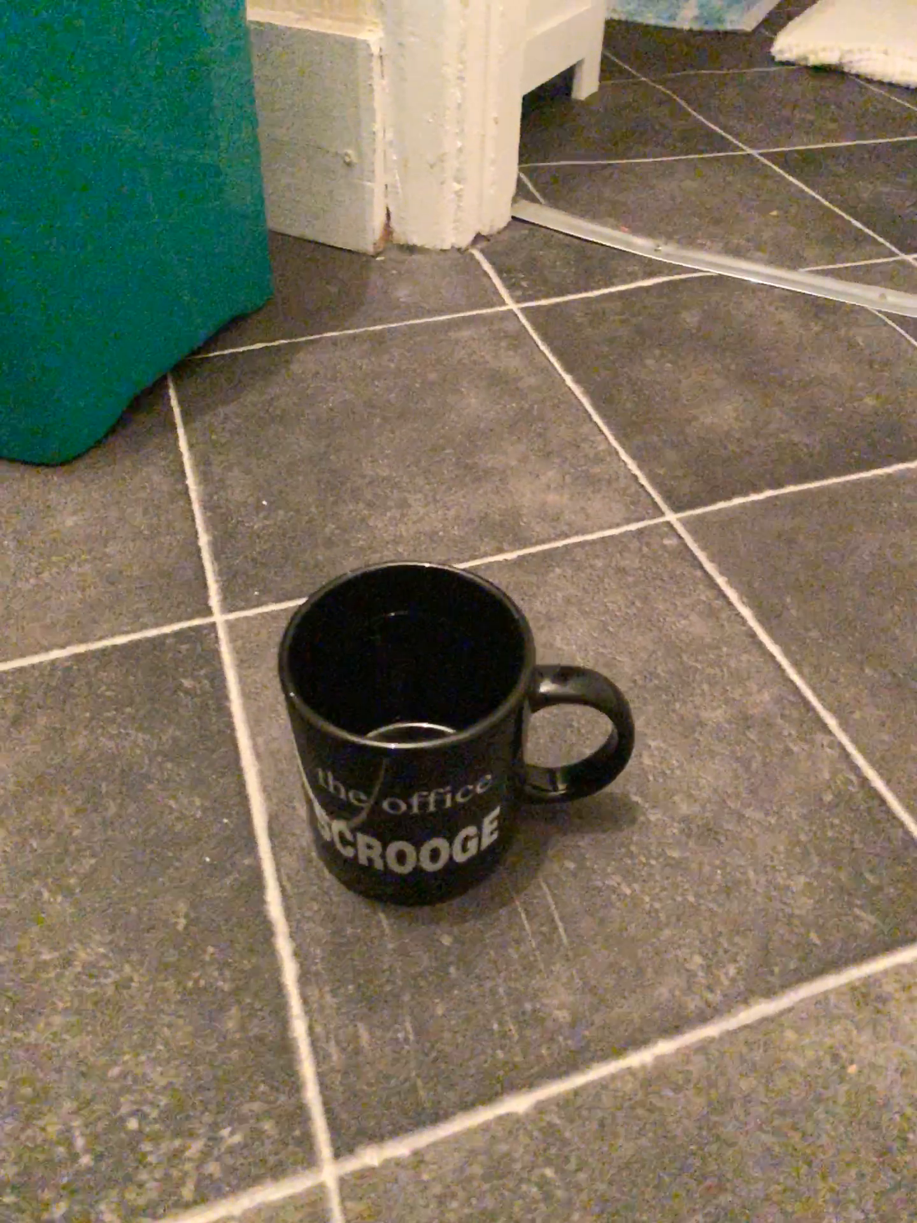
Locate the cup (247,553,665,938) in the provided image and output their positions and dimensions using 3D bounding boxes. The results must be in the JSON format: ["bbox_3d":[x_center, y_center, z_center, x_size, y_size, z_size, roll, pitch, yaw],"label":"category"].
[{"bbox_3d":[-0.002,0.050,0.331,0.117,0.115,0.081,1,45,-1],"label":"cup"}]
